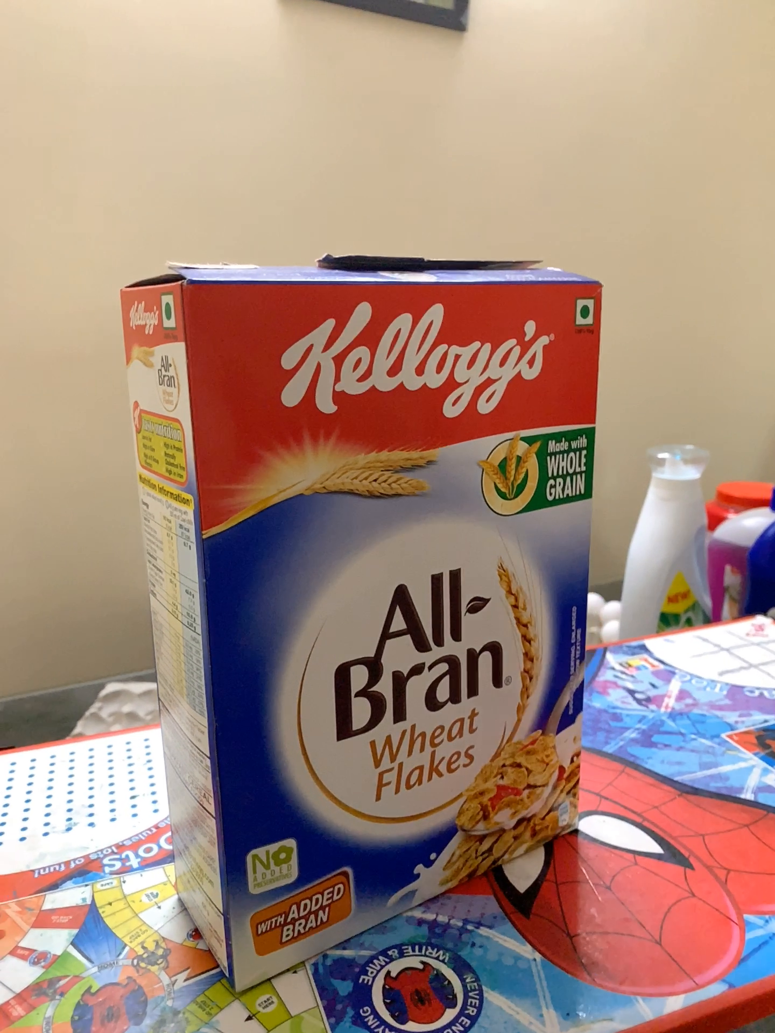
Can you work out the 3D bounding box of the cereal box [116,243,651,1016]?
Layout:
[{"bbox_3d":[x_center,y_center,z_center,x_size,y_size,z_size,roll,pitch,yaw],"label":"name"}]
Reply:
[{"bbox_3d":[0.009,0.028,0.318,0.190,0.249,0.060,-10,16,-32],"label":"cereal box"}]
